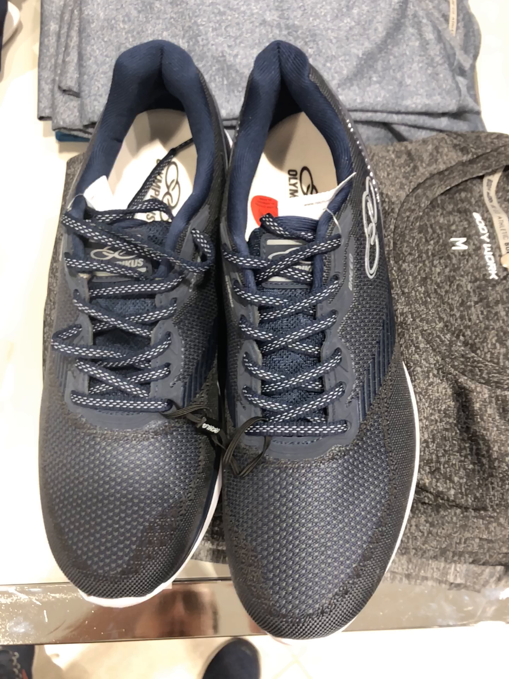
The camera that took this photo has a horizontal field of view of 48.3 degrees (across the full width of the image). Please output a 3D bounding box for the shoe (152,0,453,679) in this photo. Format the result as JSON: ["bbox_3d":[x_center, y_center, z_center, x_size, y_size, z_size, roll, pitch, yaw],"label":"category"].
[{"bbox_3d":[0.029,-0.002,0.311,0.120,0.130,0.290,-4,79,15],"label":"shoe"}]

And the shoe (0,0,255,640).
[{"bbox_3d":[-0.070,-0.014,0.320,0.120,0.130,0.290,4,79,1],"label":"shoe"}]
